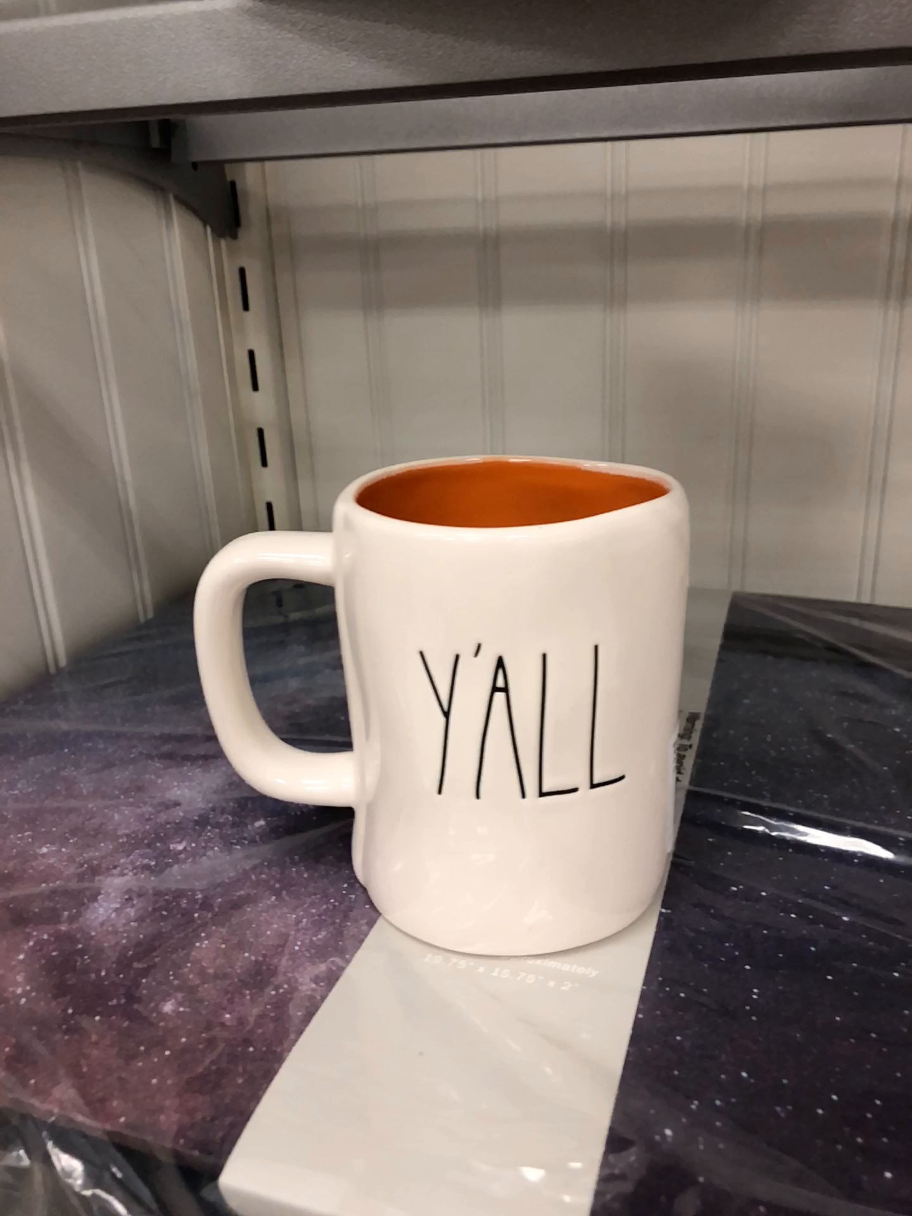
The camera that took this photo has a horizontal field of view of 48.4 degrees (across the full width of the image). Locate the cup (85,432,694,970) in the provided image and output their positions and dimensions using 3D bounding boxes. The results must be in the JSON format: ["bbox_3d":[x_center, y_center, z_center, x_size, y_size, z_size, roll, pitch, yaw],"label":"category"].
[{"bbox_3d":[-0.009,0.019,0.290,0.140,0.119,0.091,1,21,9],"label":"cup"}]
